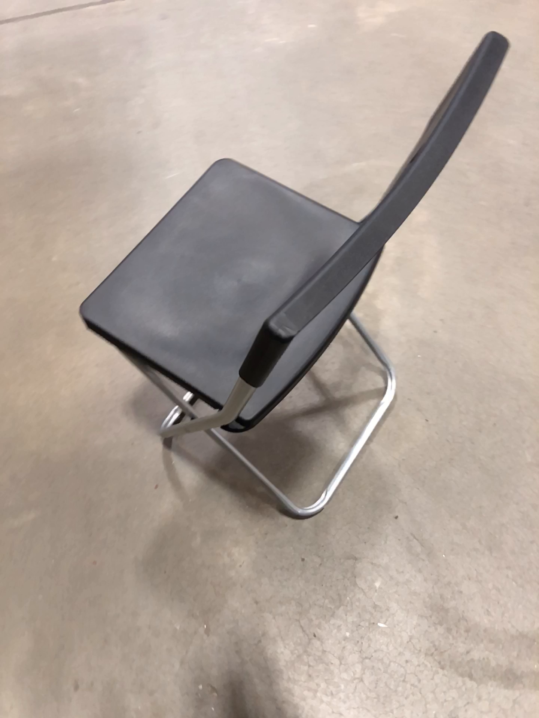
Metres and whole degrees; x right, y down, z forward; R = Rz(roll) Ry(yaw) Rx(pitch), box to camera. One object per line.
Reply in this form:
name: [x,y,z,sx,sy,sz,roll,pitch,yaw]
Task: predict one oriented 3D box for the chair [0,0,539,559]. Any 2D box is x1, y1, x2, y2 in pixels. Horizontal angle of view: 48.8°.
chair: [-0.018,-0.100,0.888,0.461,0.759,0.460,29,68,19]
